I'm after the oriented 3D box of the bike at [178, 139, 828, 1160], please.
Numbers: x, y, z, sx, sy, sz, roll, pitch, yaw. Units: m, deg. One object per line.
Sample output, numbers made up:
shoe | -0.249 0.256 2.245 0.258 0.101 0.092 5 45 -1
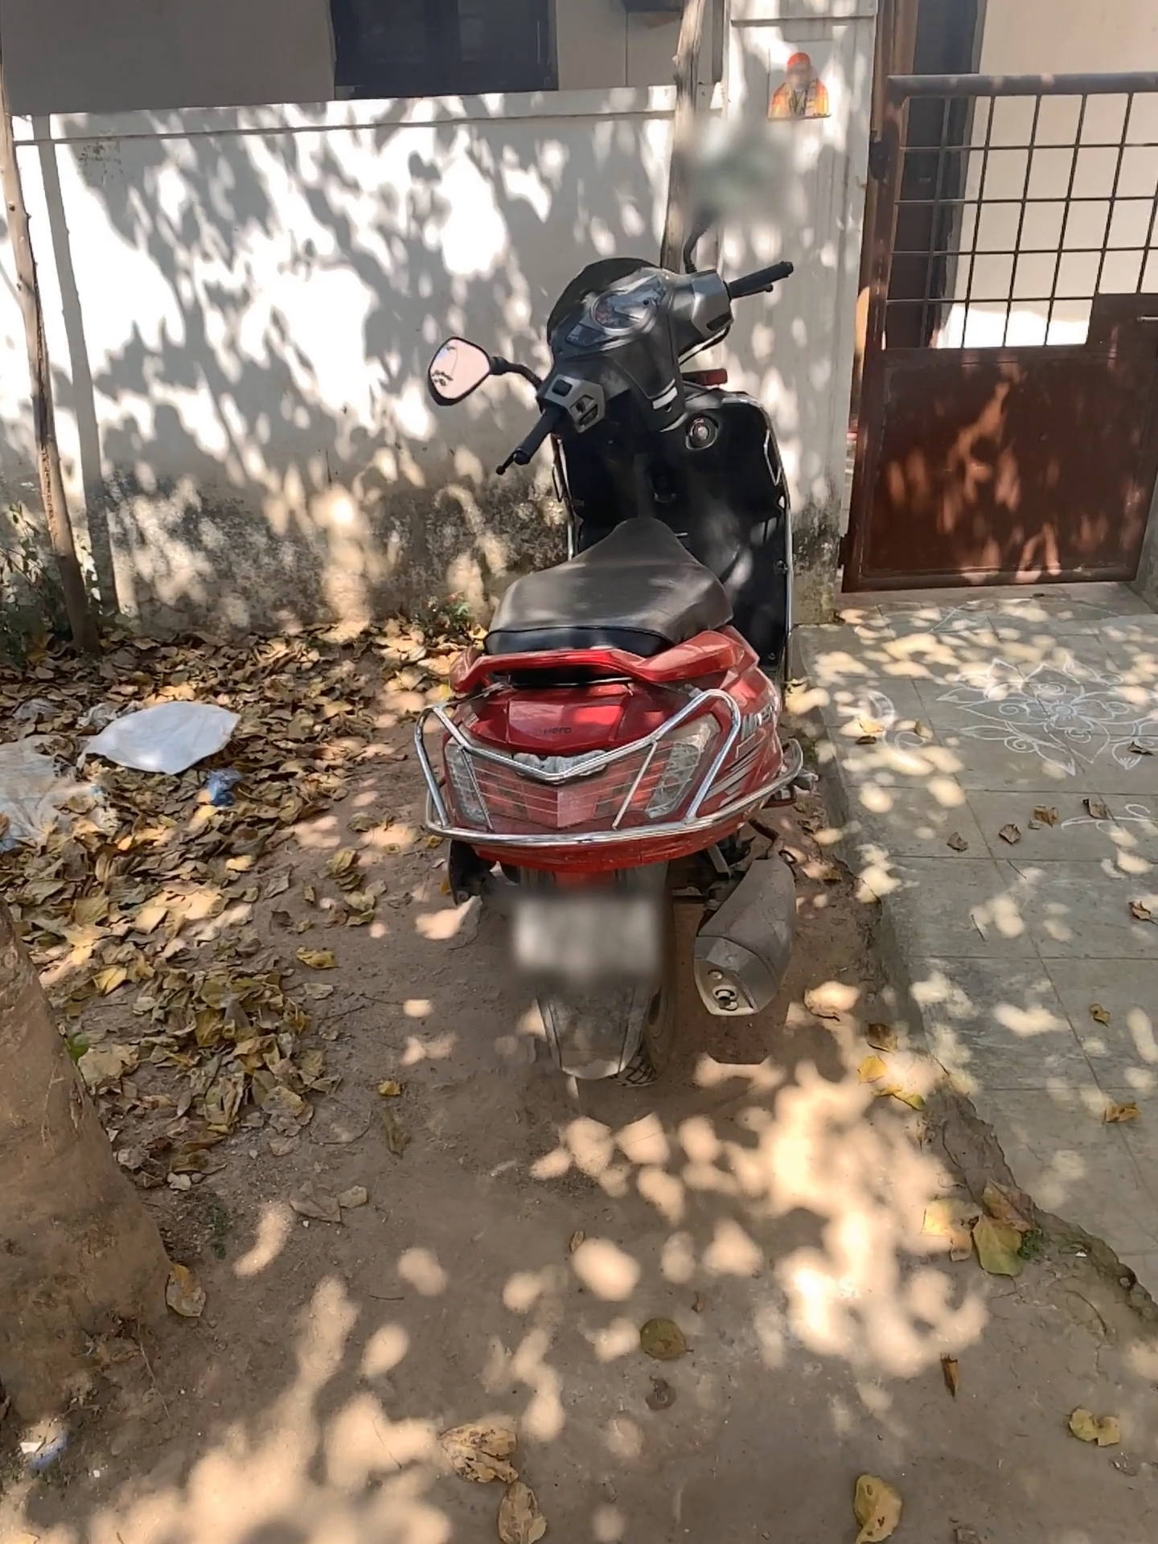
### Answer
bike | -0.089 -0.439 2.314 0.735 1.155 1.769 -1 33 2
